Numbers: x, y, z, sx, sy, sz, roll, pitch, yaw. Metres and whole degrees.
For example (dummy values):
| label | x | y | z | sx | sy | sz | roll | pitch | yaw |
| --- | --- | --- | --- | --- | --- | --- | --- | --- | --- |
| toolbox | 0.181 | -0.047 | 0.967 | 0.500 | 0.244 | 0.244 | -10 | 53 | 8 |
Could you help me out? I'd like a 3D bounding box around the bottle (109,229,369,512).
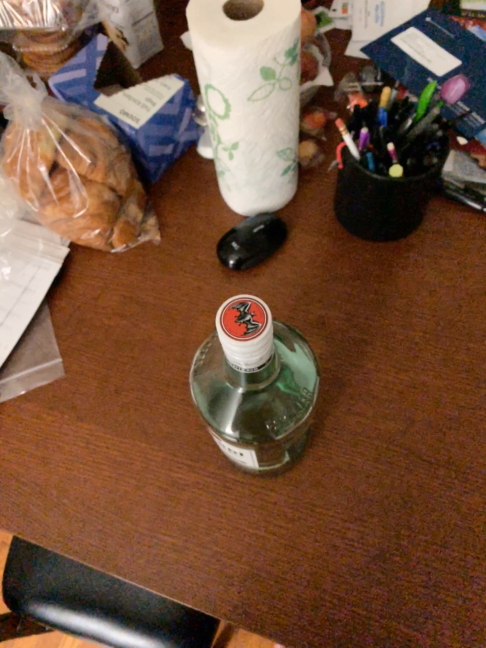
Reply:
| label | x | y | z | sx | sy | sz | roll | pitch | yaw |
| --- | --- | --- | --- | --- | --- | --- | --- | --- | --- |
| bottle | 0.008 | 0.076 | 0.476 | 0.120 | 0.329 | 0.120 | -2 | 66 | 4 |
